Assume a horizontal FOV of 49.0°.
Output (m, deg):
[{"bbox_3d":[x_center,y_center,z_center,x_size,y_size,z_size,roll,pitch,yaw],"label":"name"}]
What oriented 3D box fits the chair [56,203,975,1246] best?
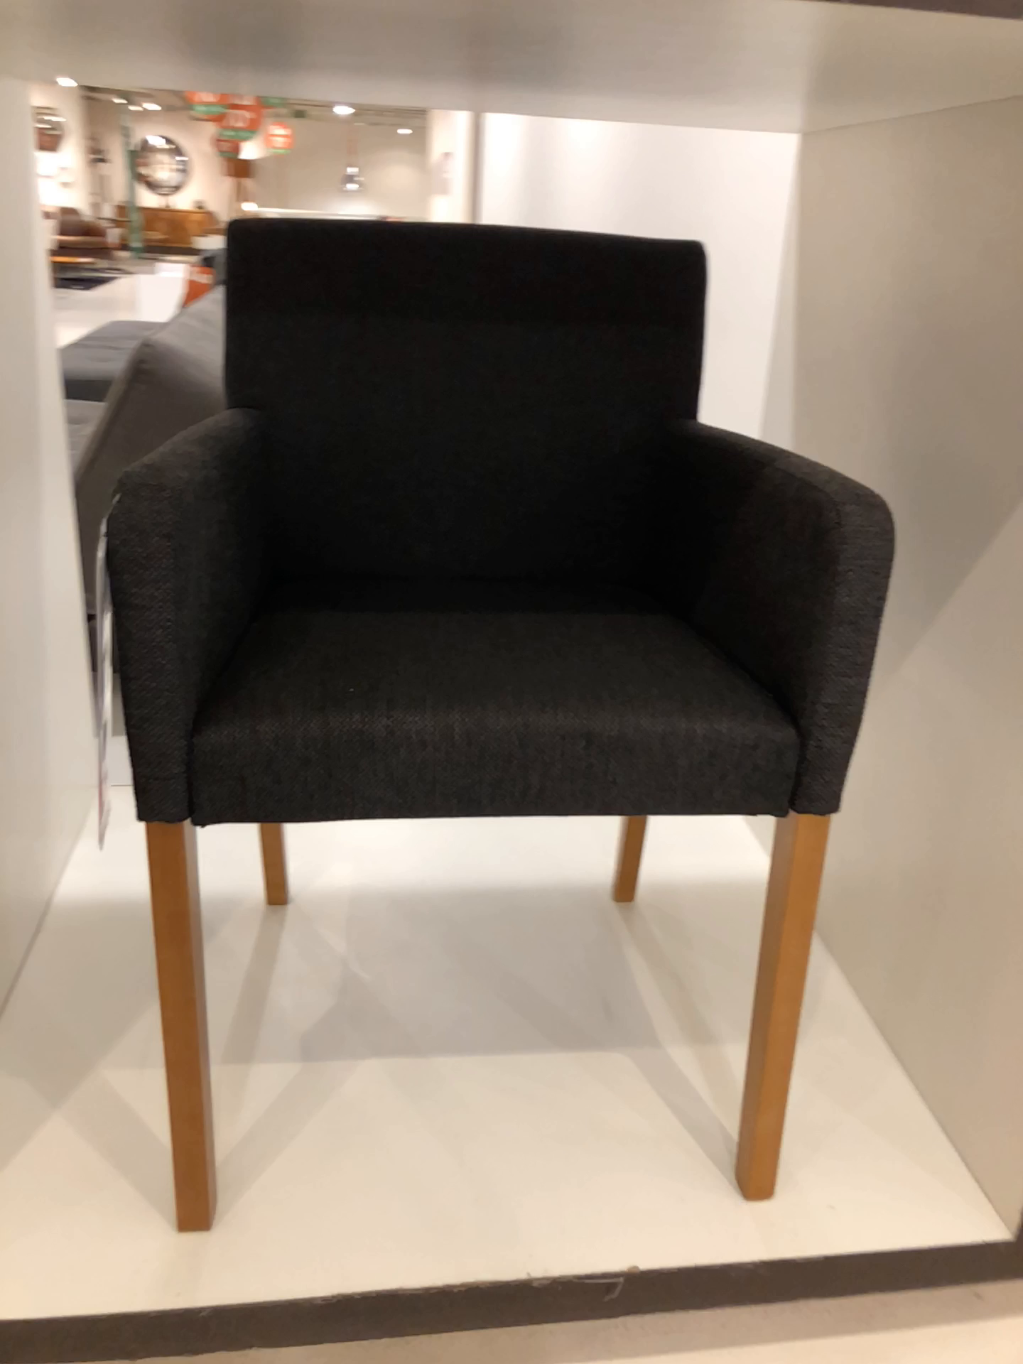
[{"bbox_3d":[-0.042,-0.010,1.080,0.560,0.795,0.564,0,22,-8],"label":"chair"}]
